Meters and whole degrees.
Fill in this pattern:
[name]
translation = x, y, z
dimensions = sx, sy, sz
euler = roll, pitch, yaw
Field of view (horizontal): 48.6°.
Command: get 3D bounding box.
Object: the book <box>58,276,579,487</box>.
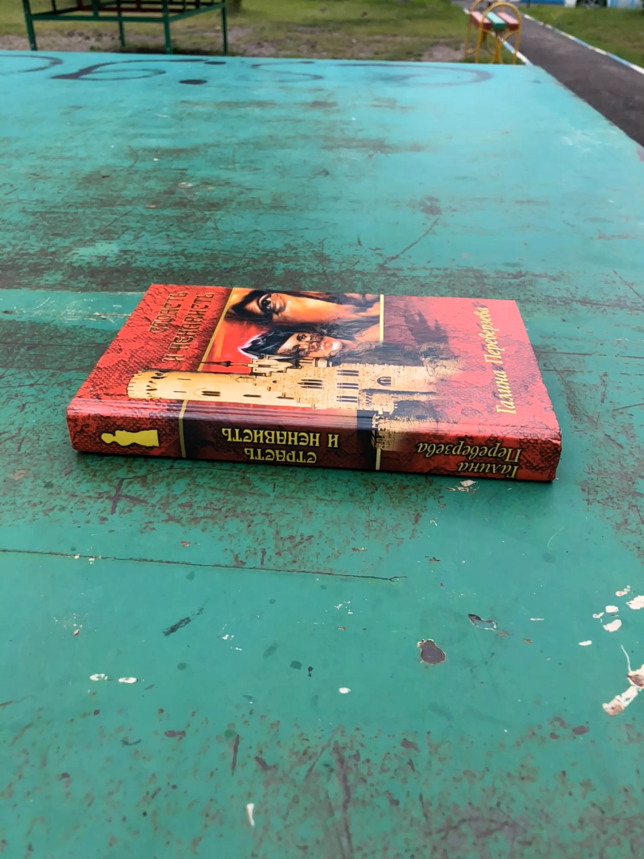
[book]
translation = 0.001, -0.032, 0.356
dimensions = 0.210, 0.030, 0.144
euler = 3, 33, 2
